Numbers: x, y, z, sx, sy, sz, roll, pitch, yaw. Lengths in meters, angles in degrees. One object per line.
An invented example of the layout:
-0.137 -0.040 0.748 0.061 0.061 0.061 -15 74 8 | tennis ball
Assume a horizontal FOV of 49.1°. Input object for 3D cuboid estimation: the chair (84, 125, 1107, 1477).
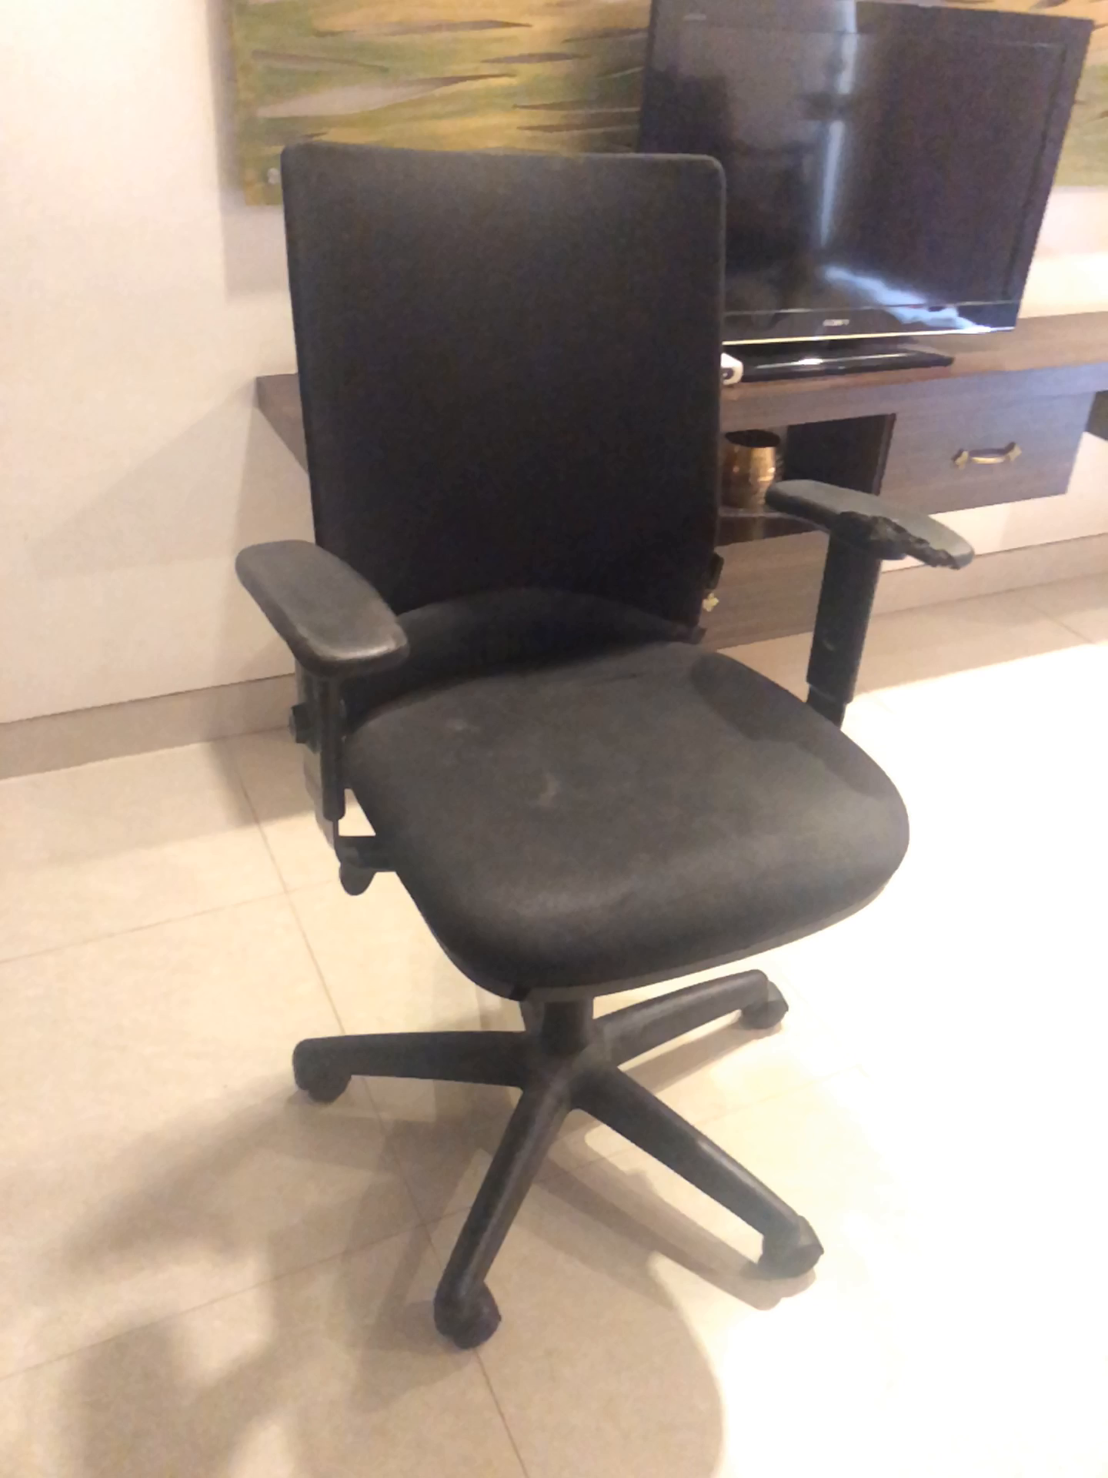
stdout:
0.041 0.006 1.233 0.711 1.042 0.704 -14 37 -25 | chair
